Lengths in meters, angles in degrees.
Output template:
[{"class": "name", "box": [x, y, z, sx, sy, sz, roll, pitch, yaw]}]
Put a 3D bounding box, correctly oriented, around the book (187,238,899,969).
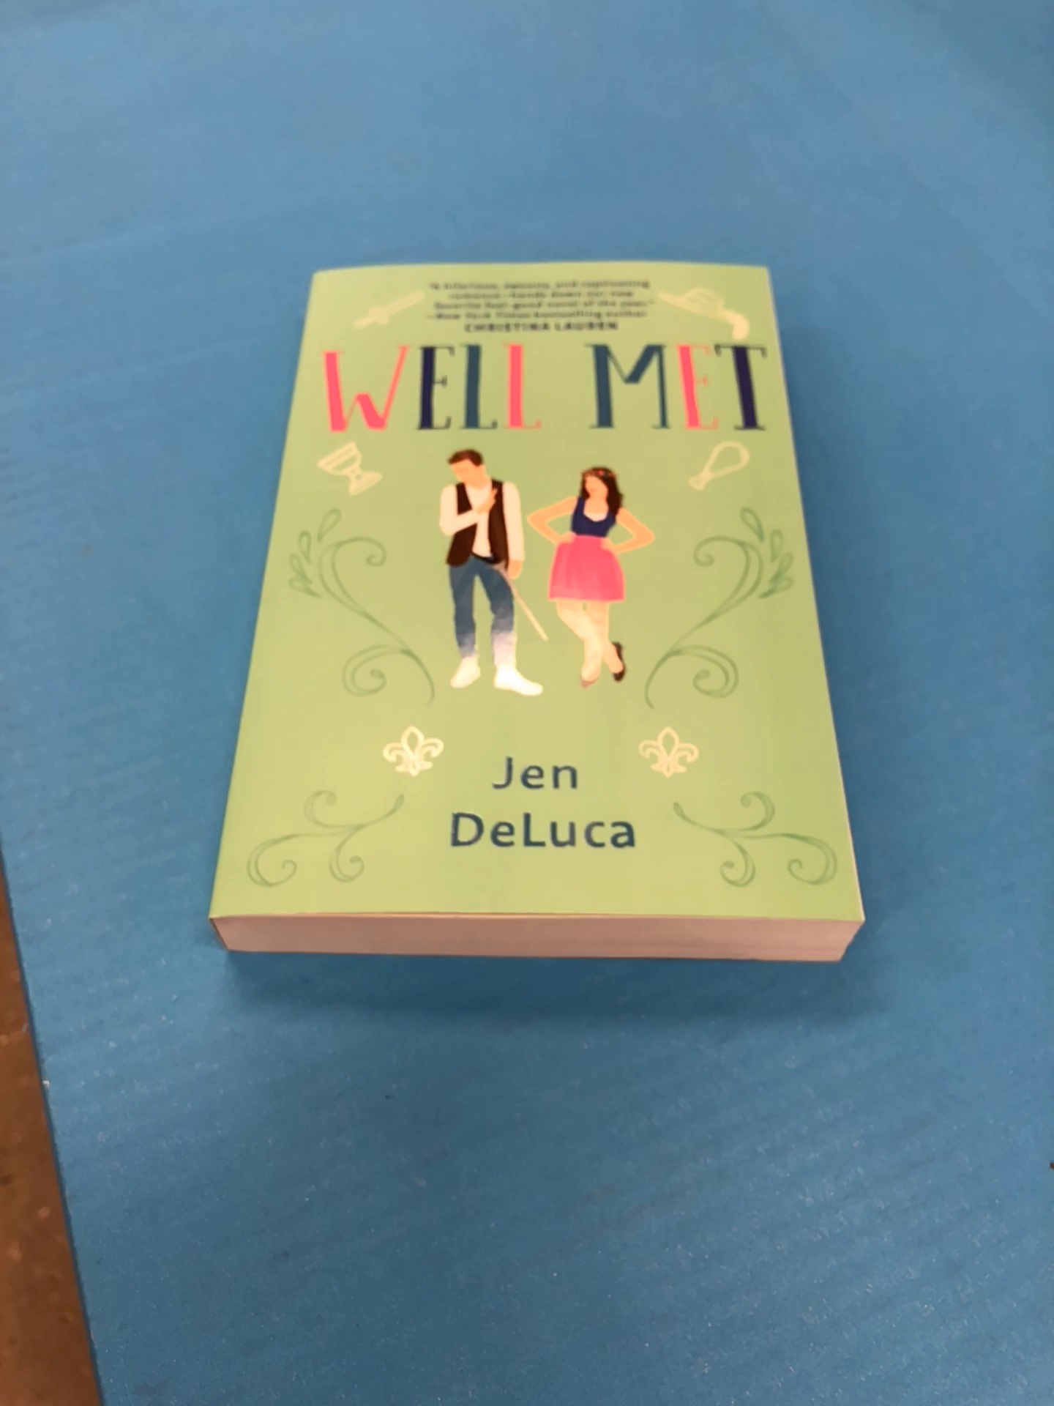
[{"class": "book", "box": [0.004, -0.040, 0.314, 0.146, 0.030, 0.216, 1, 58, 0]}]
